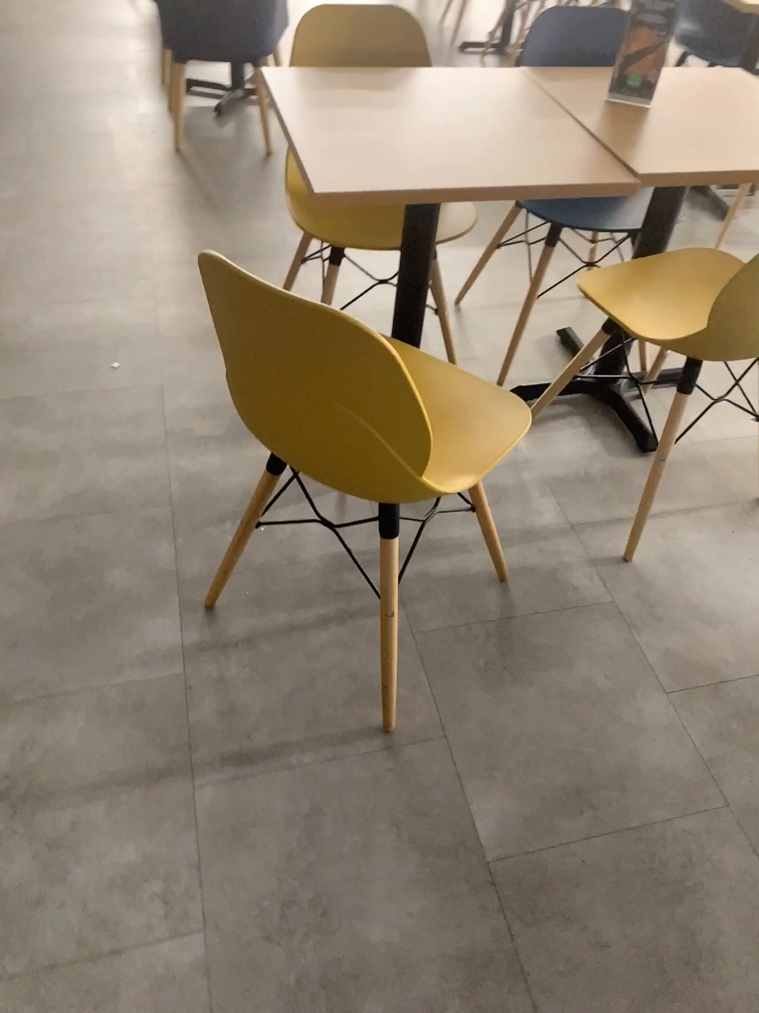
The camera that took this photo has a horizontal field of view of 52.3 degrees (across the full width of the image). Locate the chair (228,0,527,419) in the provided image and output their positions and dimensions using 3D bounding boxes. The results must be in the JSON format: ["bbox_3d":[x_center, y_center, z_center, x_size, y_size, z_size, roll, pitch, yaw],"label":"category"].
[{"bbox_3d":[-0.051,-0.700,1.859,0.497,0.776,0.496,-9,46,-14],"label":"chair"}]

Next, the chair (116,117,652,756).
[{"bbox_3d":[-0.002,-0.105,1.291,0.518,0.786,0.495,28,49,21],"label":"chair"}]

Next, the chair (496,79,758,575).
[{"bbox_3d":[0.649,-0.361,1.598,0.498,0.776,0.495,-17,49,-21],"label":"chair"}]
